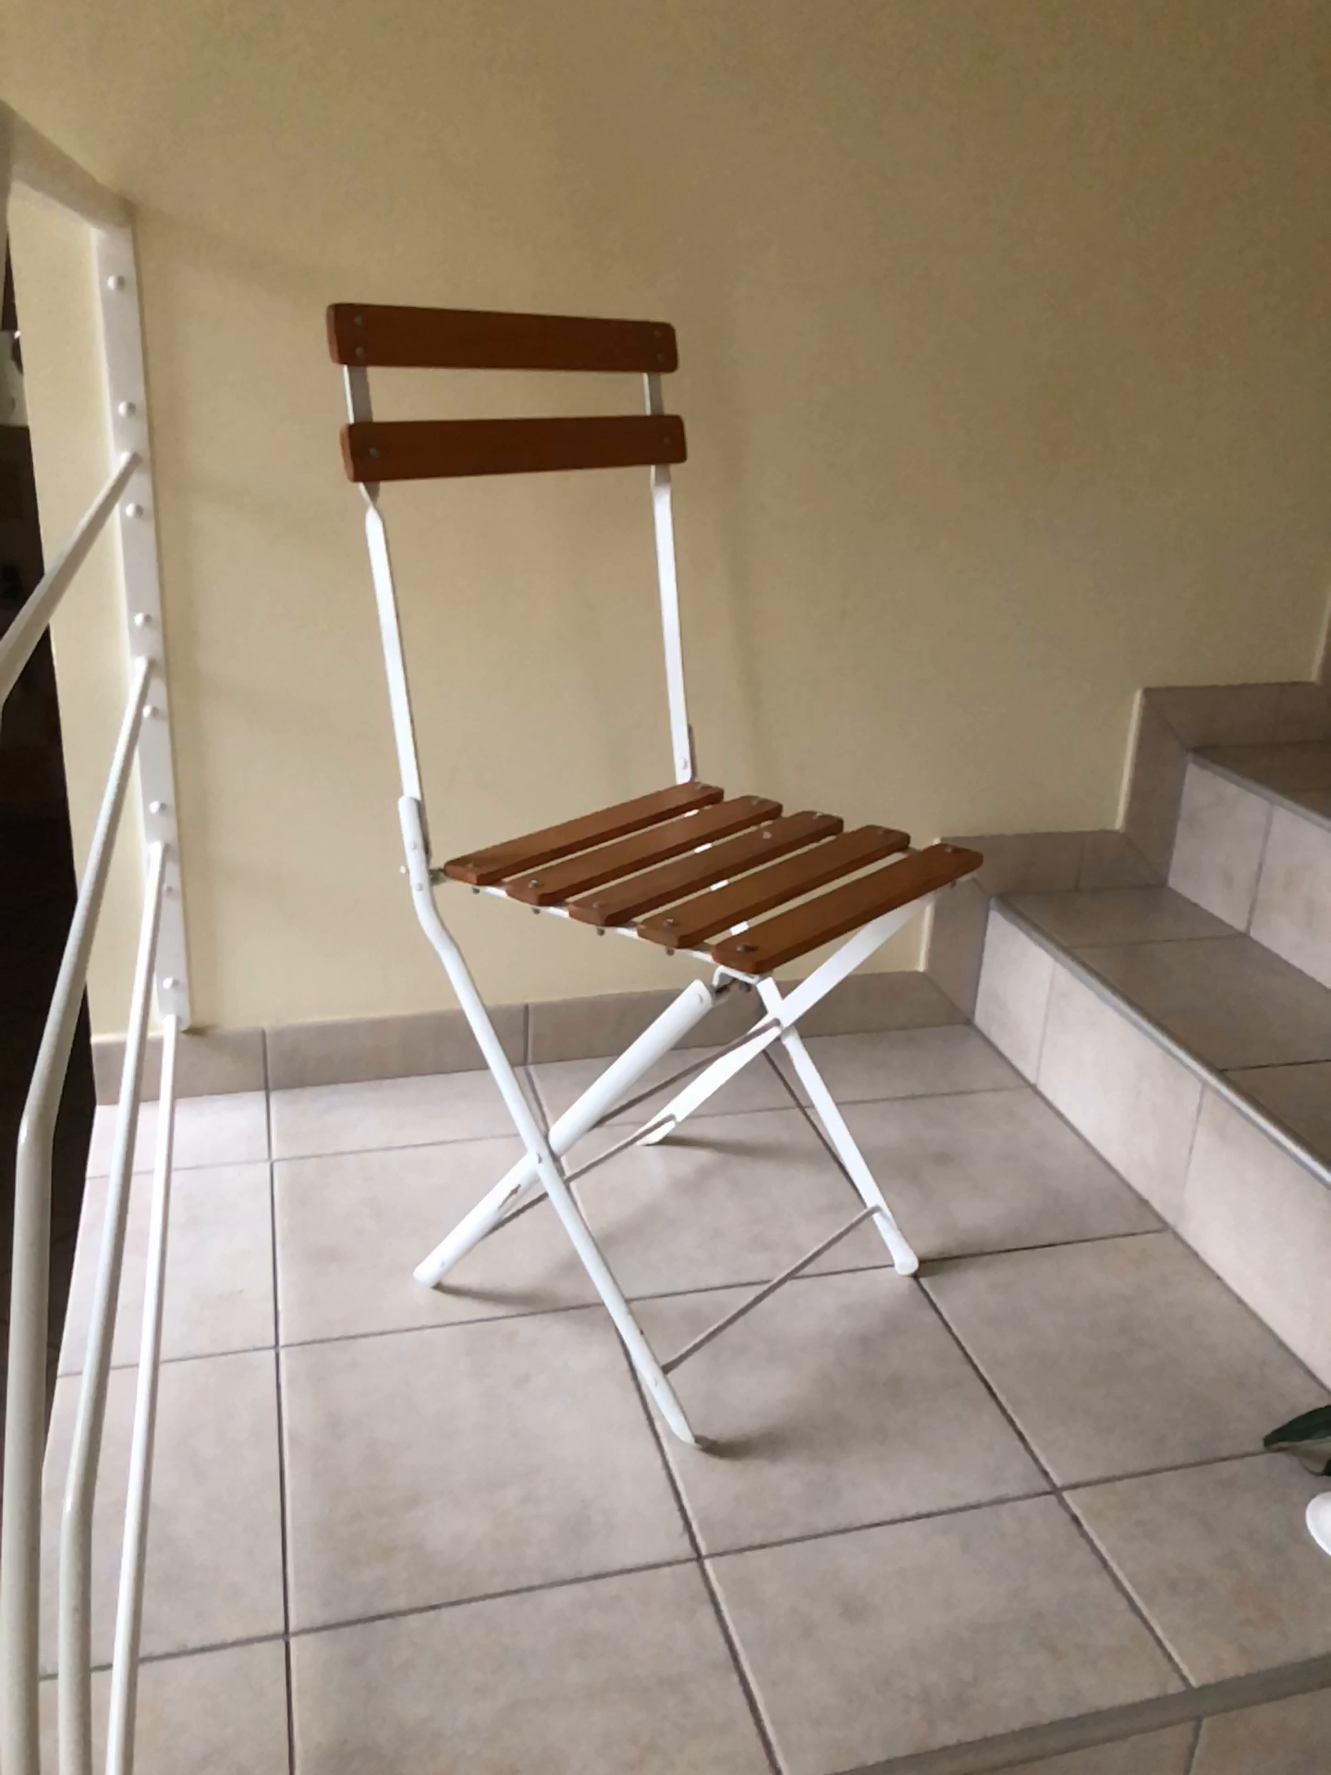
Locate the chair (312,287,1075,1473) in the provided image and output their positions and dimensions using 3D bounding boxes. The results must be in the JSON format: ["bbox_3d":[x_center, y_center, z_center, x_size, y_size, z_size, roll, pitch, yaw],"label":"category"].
[{"bbox_3d":[0.024,-0.052,1.308,0.430,0.876,0.442,16,24,37],"label":"chair"}]
